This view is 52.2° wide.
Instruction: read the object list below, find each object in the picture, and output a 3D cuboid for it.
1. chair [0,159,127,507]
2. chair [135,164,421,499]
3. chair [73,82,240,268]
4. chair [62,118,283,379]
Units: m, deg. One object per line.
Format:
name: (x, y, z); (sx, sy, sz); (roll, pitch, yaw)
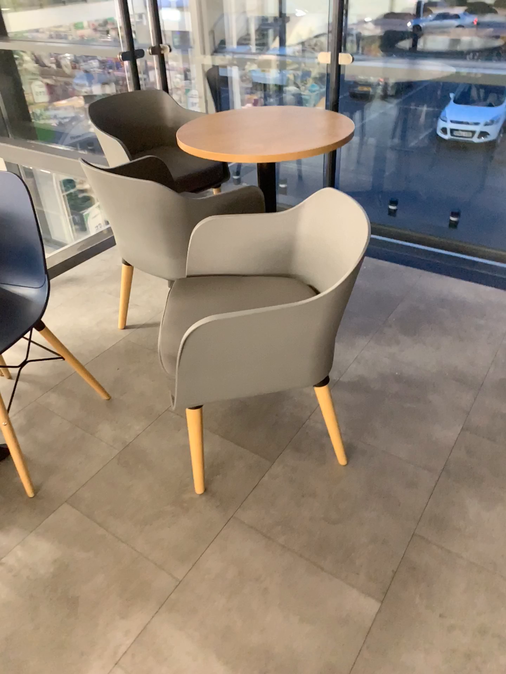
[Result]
chair: (-0.762, -0.023, 1.472); (0.474, 0.784, 0.514); (8, 36, 14)
chair: (0.042, -0.024, 1.473); (0.580, 0.734, 0.549); (-4, 36, -3)
chair: (-0.465, -0.852, 2.657); (0.582, 0.724, 0.486); (24, 43, 33)
chair: (-0.264, -0.361, 1.974); (0.516, 0.724, 0.542); (28, 46, 36)
